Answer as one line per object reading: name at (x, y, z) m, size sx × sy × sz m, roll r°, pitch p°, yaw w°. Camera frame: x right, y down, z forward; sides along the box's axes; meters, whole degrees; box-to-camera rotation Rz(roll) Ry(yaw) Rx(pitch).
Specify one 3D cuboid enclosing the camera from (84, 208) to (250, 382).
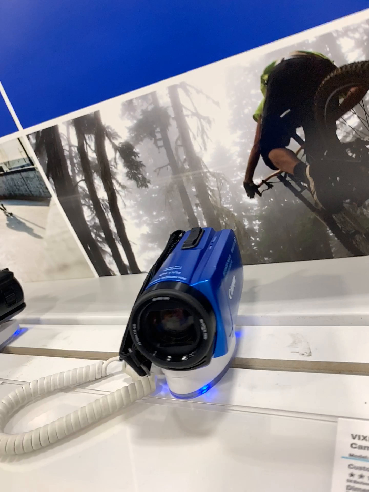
camera at (0.001, 0.024, 0.275) m, size 0.072 × 0.058 × 0.143 m, roll -9°, pitch 17°, yaw 17°
